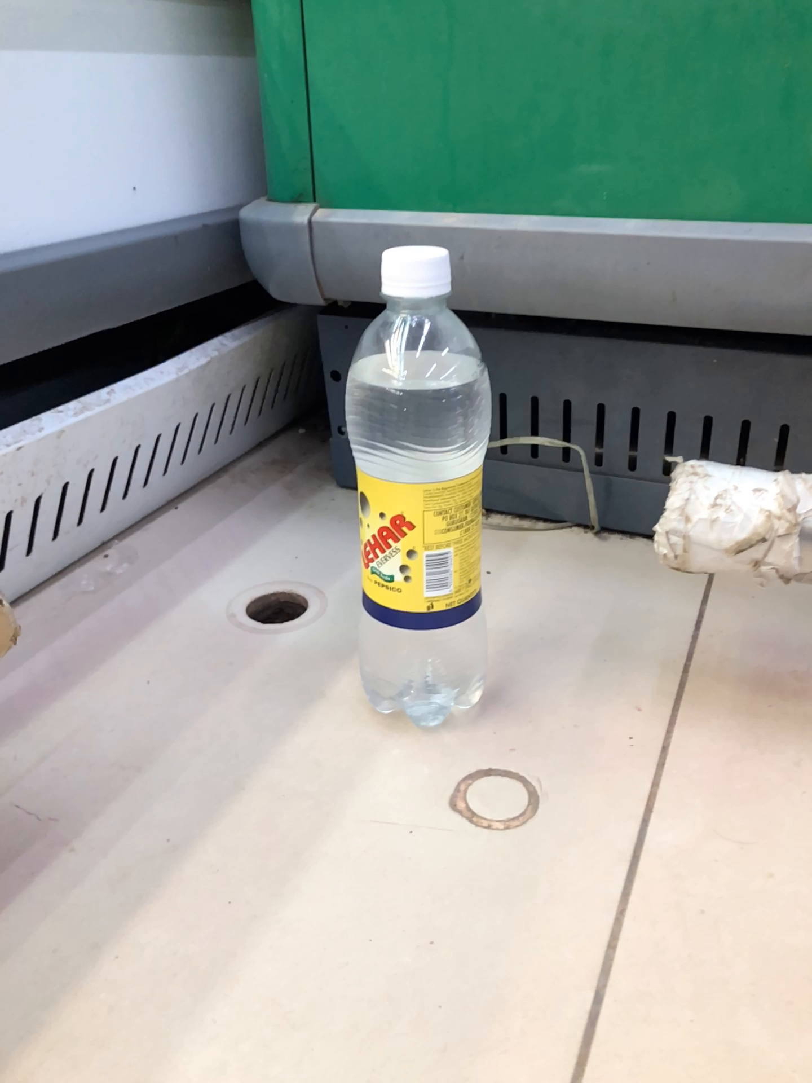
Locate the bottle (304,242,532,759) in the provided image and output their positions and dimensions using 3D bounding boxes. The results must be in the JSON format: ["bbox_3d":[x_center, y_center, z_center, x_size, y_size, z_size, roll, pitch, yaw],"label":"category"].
[{"bbox_3d":[0.008,-0.018,0.435,0.070,0.229,0.070,-1,26,1],"label":"bottle"}]
